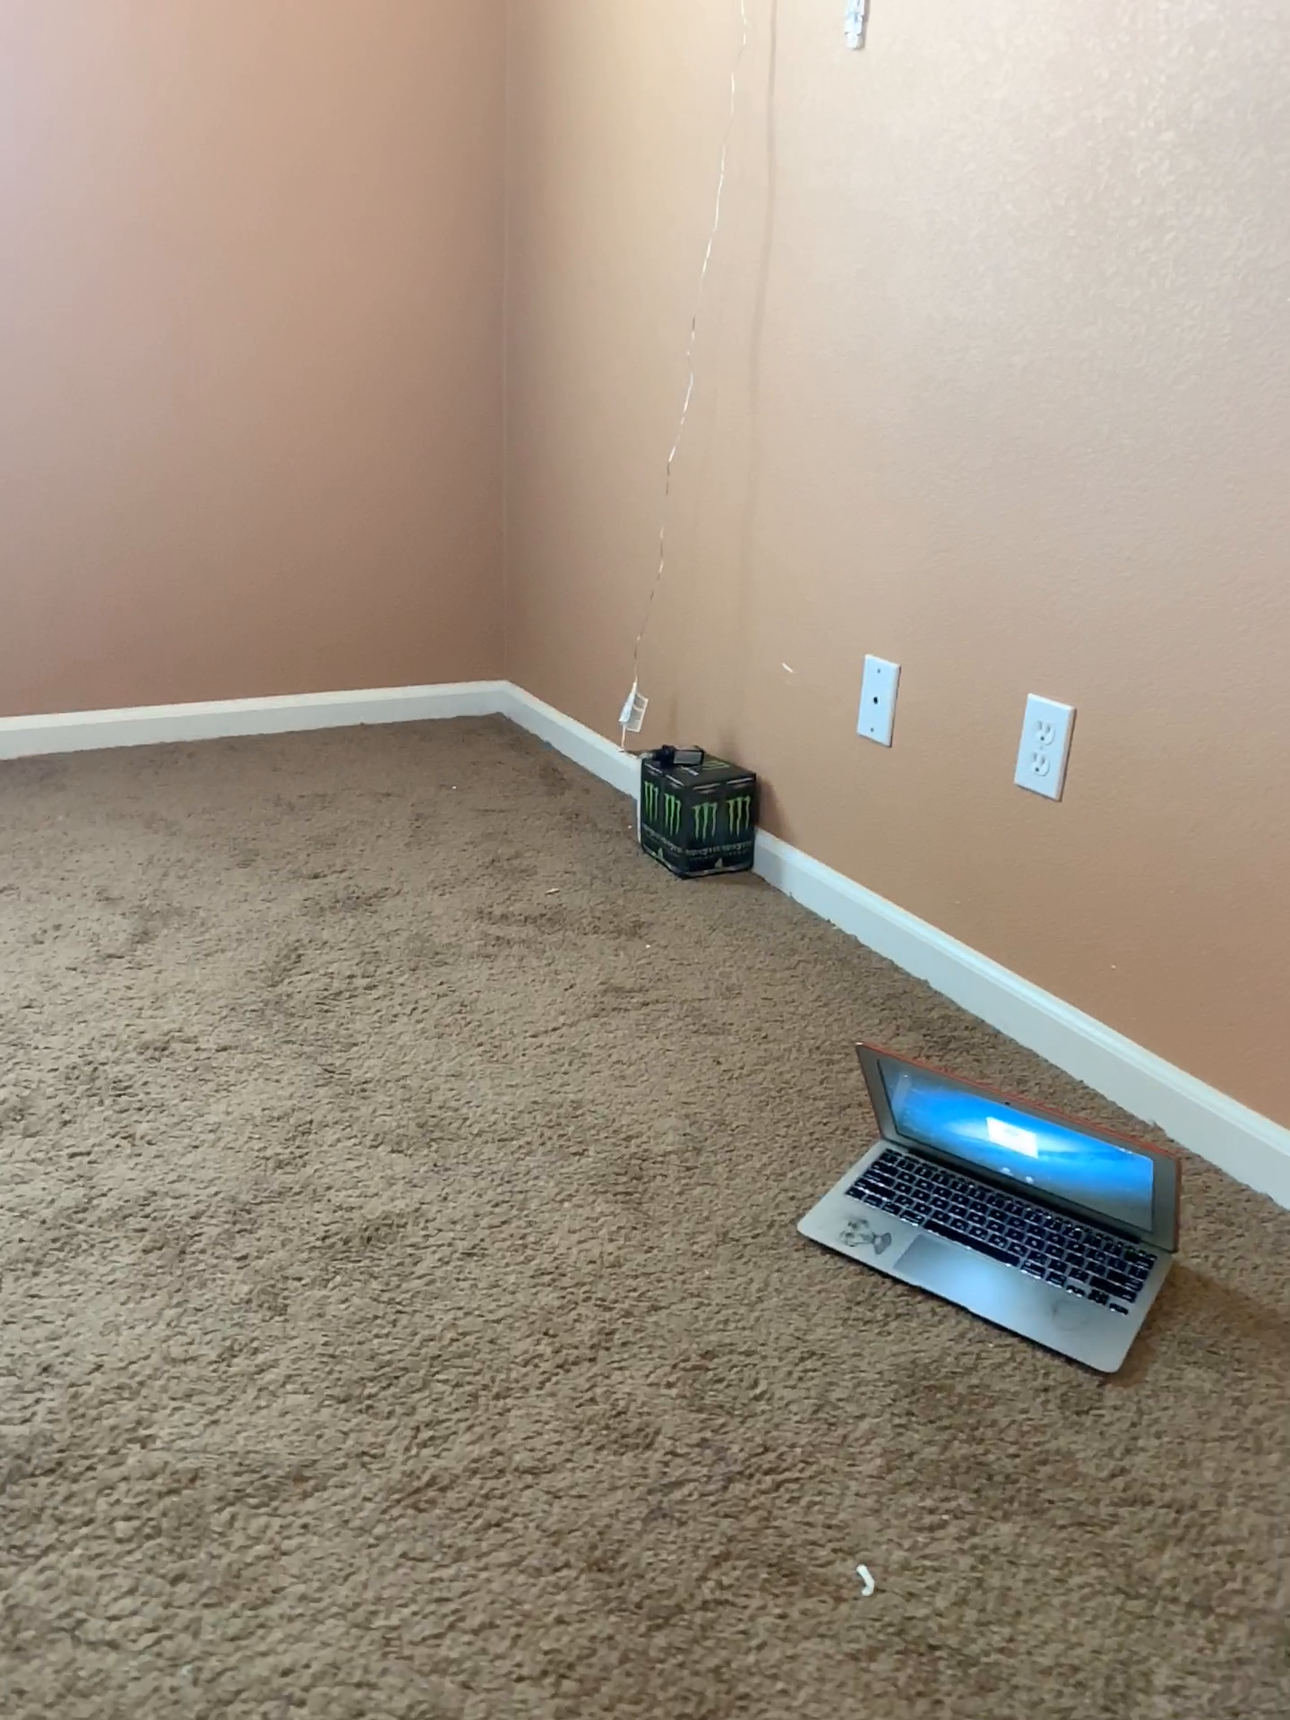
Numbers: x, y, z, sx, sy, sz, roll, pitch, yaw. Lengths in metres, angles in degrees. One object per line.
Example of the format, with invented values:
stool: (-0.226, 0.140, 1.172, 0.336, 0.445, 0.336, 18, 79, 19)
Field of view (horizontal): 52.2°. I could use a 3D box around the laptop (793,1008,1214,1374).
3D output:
laptop: (0.317, 0.279, 1.181, 0.299, 0.148, 0.193, 17, 25, 31)
